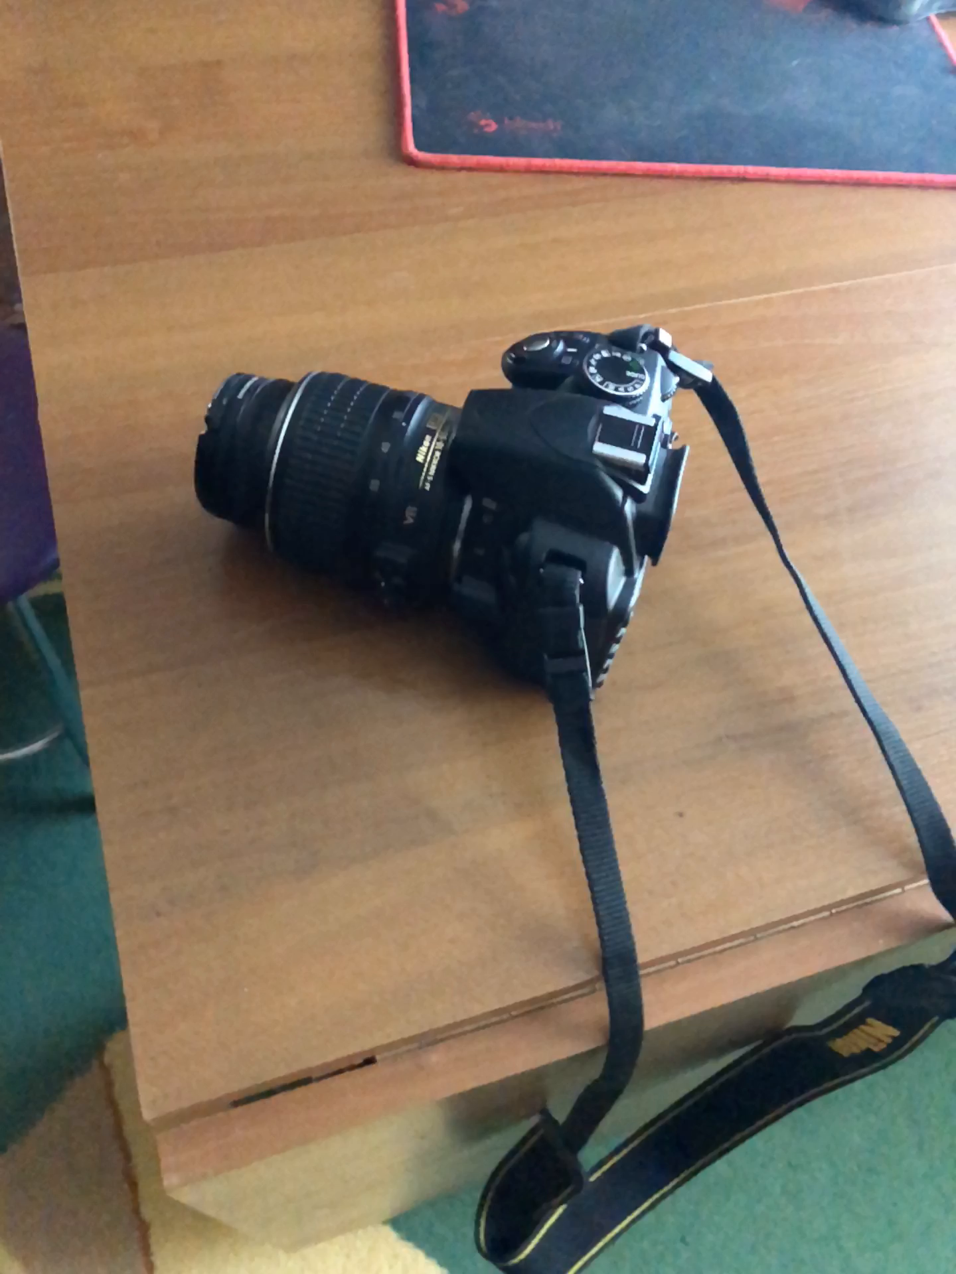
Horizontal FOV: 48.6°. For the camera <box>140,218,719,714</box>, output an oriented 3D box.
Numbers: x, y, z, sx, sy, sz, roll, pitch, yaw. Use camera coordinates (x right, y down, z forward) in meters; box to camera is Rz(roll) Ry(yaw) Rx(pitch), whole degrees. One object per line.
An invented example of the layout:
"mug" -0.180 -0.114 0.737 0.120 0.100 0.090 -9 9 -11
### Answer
"camera" -0.013 -0.061 0.376 0.161 0.078 0.111 17 58 4
